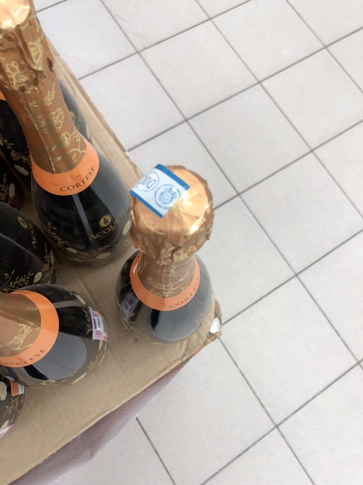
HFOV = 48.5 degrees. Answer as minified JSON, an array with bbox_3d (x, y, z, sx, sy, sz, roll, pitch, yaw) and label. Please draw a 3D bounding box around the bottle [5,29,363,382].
[{"bbox_3d":[-0.007,0.021,0.305,0.100,0.320,0.100,1,74,-5],"label":"bottle"}]
